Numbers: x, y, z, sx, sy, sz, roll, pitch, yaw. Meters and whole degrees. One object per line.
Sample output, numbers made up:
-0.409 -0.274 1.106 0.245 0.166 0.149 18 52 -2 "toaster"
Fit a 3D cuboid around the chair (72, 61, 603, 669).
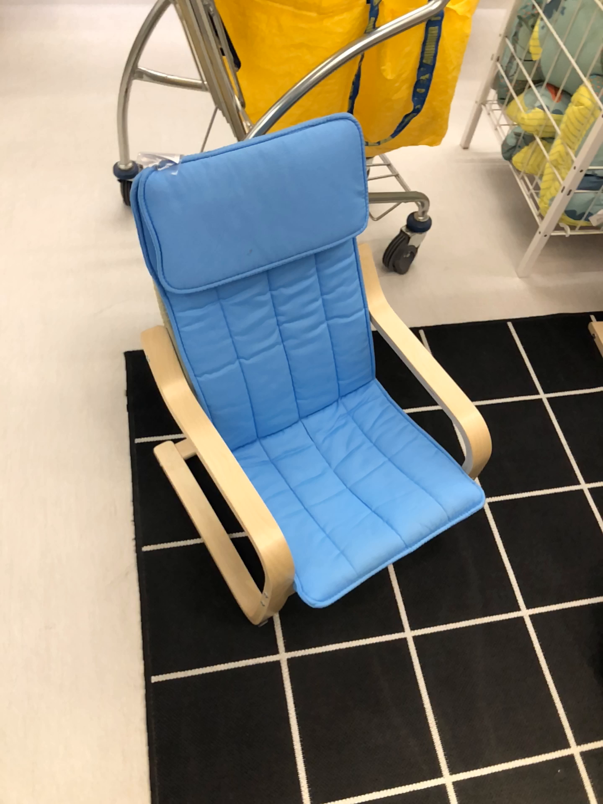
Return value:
0.002 0.000 1.206 0.491 0.876 0.562 -24 63 -22 "chair"
